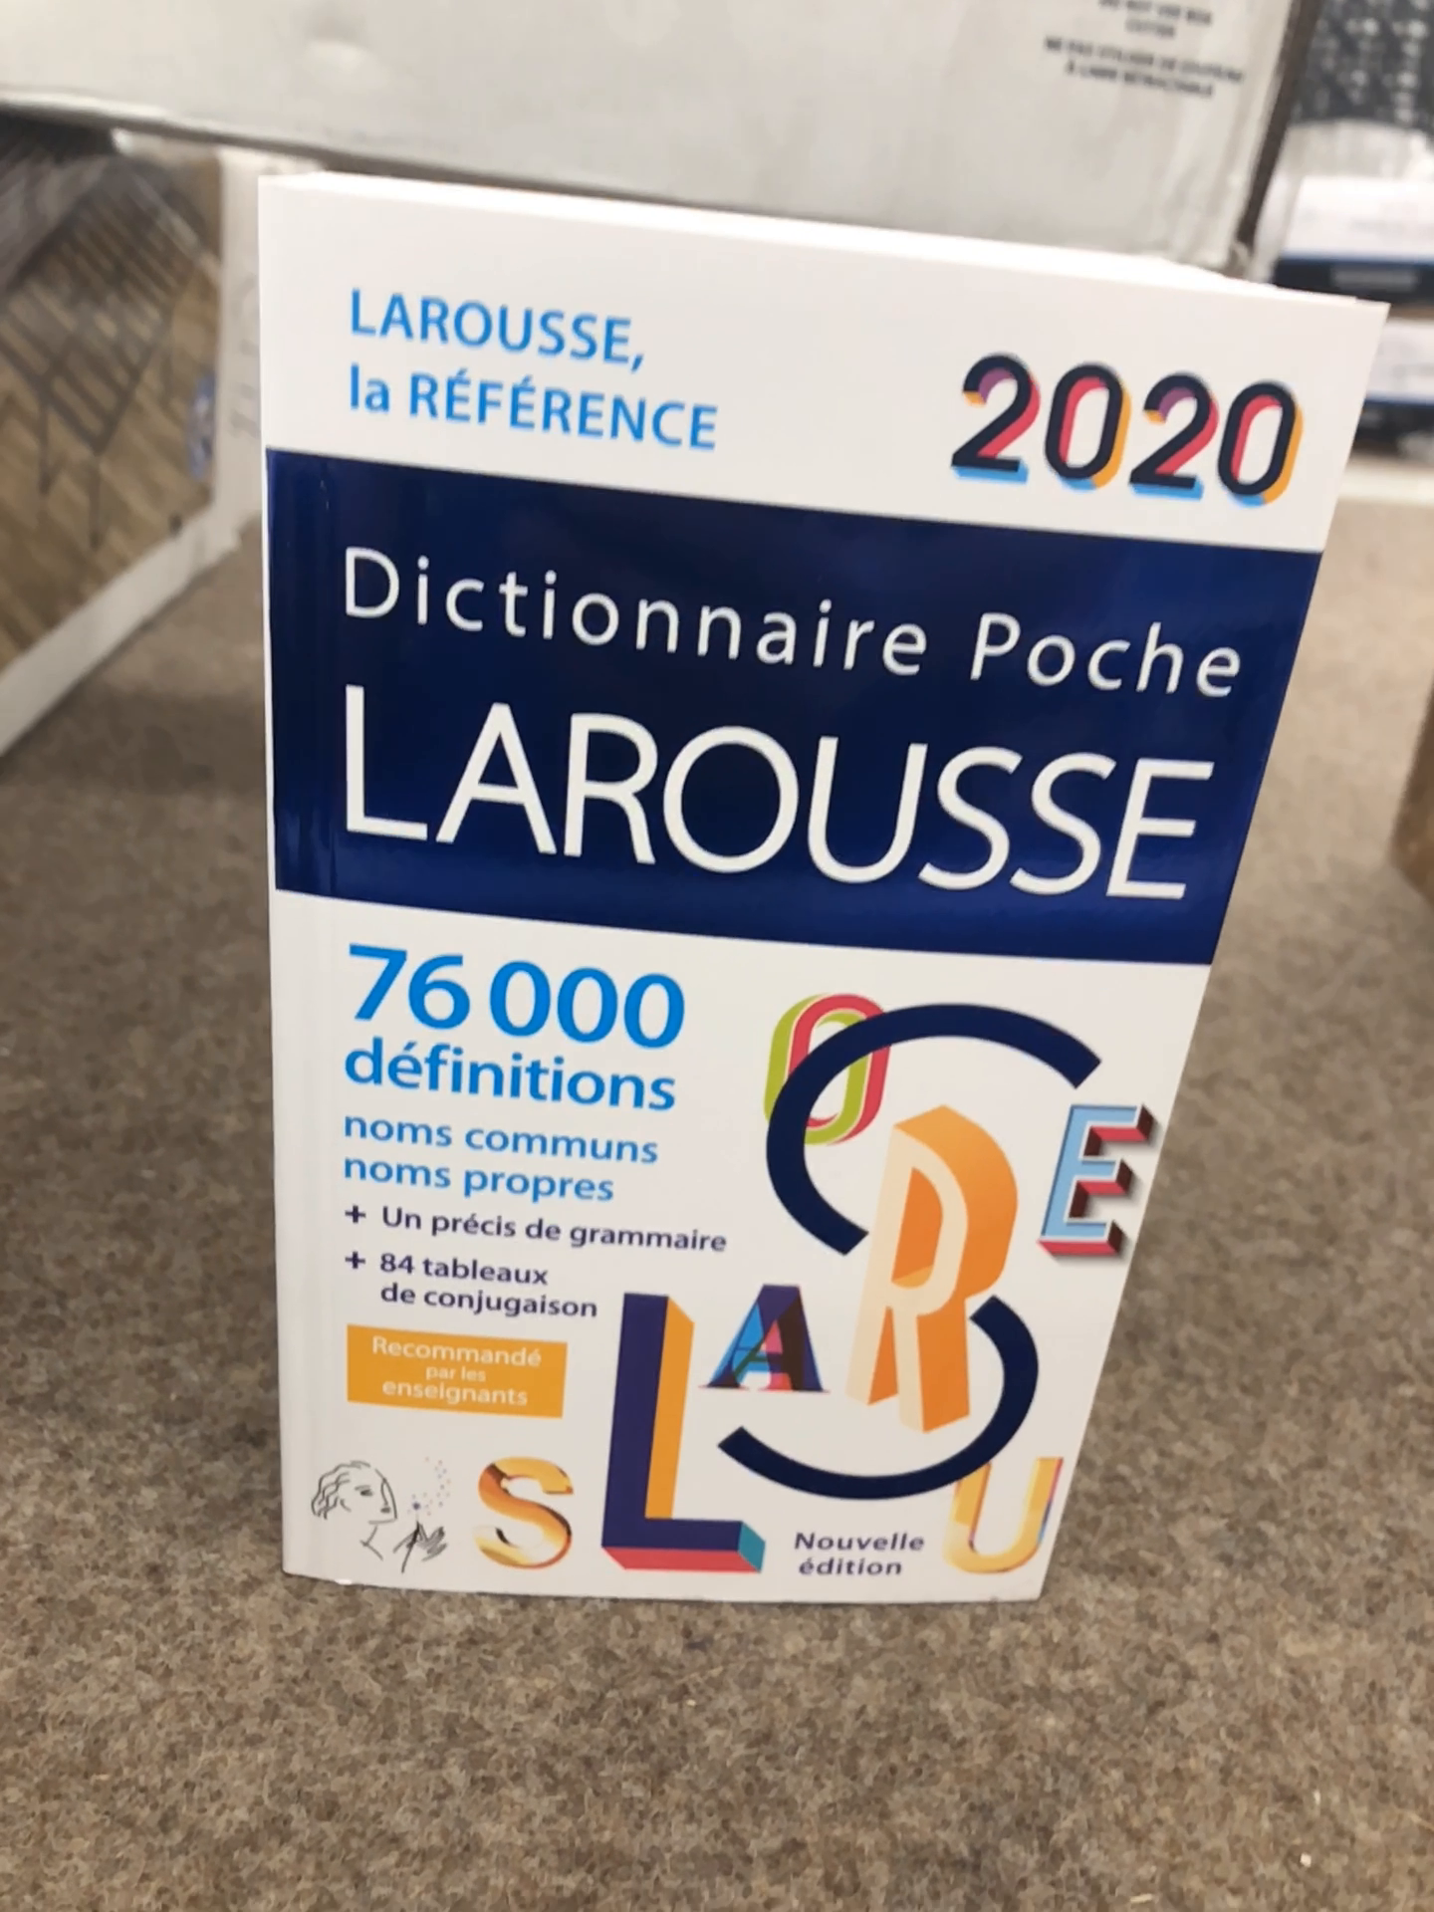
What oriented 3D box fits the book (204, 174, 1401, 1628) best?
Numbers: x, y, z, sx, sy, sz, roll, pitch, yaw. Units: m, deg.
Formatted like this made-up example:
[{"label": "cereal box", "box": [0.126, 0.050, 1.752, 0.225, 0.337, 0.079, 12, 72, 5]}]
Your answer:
[{"label": "book", "box": [0.000, -0.001, 0.211, 0.111, 0.173, 0.062, 4, 25, -5]}]
